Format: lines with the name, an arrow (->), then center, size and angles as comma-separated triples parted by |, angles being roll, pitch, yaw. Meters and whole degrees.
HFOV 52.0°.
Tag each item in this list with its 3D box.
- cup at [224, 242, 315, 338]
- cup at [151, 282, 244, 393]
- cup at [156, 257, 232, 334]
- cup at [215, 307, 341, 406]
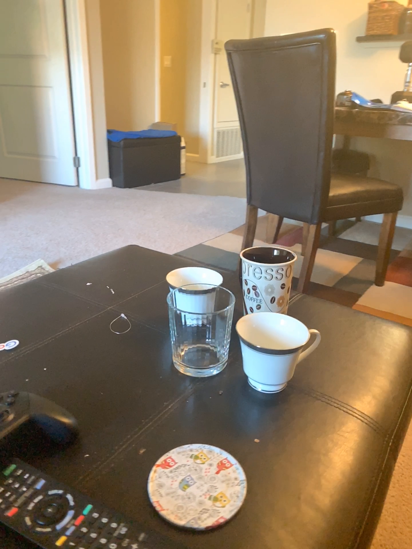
cup -> 0.095, 0.021, 0.664 | 0.100, 0.109, 0.101 | 2, 23, -1
cup -> -0.016, 0.082, 0.581 | 0.100, 0.099, 0.101 | 2, 23, -1
cup -> -0.016, 0.030, 0.671 | 0.090, 0.070, 0.111 | 8, 24, 14
cup -> 0.085, 0.099, 0.535 | 0.120, 0.060, 0.101 | -6, 24, -18
